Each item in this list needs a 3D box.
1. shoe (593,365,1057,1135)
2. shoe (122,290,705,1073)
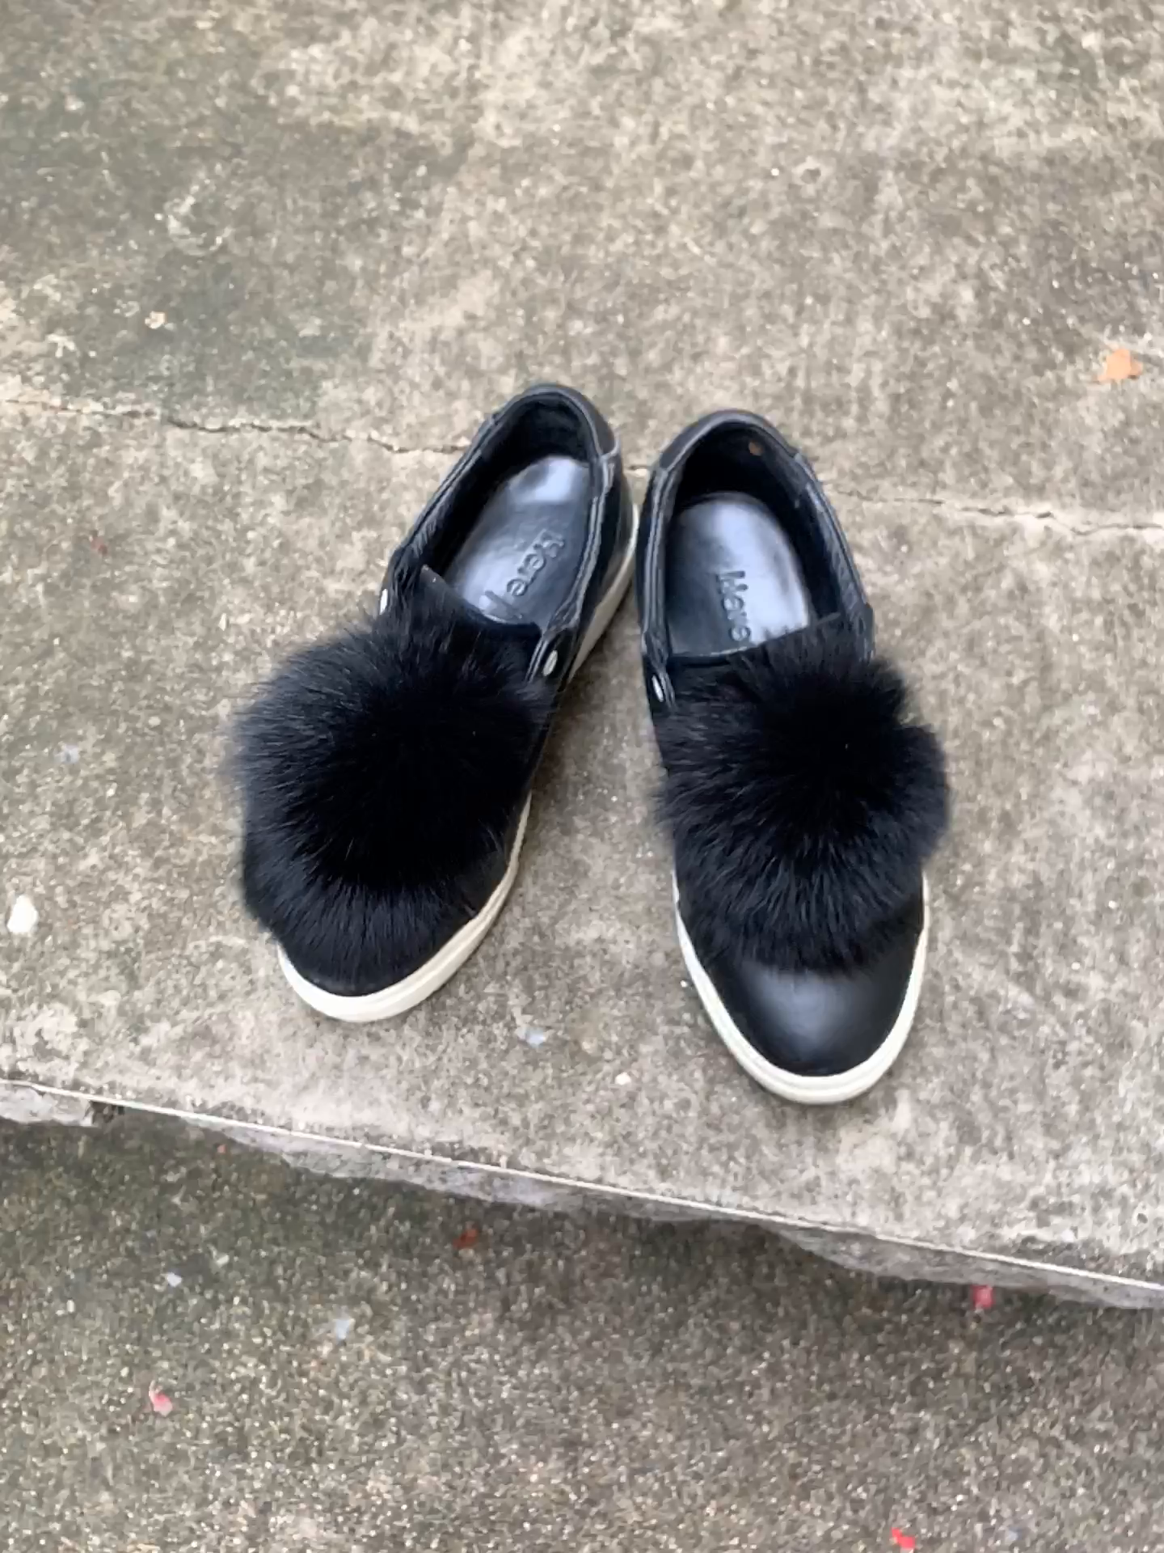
[{"bbox_3d":[0.072,-0.009,0.428,0.098,0.098,0.244,-9,68,1],"label":"shoe"},{"bbox_3d":[-0.047,-0.038,0.460,0.095,0.098,0.269,21,72,11],"label":"shoe"}]
